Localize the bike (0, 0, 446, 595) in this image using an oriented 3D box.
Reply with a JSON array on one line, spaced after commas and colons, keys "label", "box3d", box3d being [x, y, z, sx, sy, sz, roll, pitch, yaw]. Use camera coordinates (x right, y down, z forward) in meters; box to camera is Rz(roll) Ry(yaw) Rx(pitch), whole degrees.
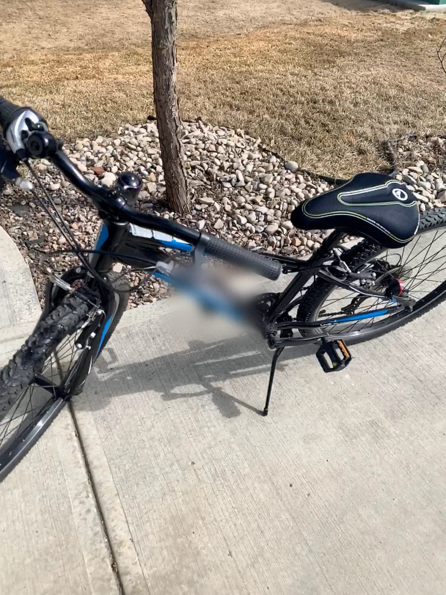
[{"label": "bike", "box3d": [0.092, 0.075, 0.948, 1.391, 0.885, 0.516, -22, 48, -15]}]
